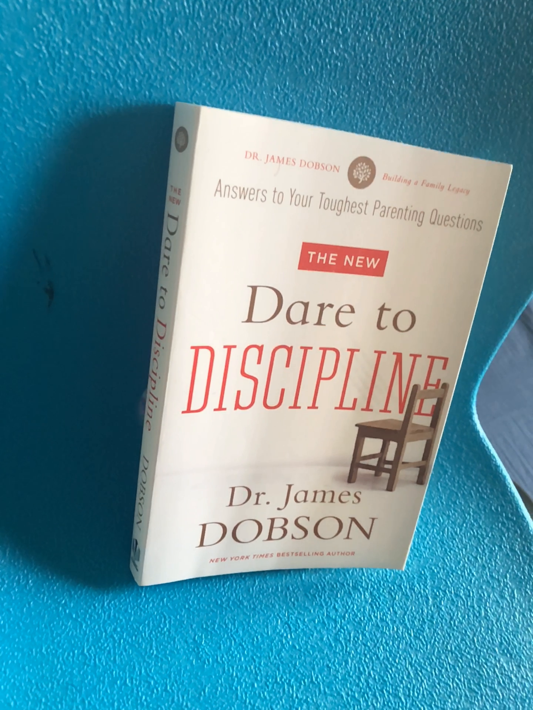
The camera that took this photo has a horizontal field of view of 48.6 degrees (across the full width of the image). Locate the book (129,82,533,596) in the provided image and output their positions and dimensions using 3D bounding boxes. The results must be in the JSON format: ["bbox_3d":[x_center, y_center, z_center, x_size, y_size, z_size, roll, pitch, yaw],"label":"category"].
[{"bbox_3d":[0.025,0.003,0.262,0.150,0.199,0.040,3,16,-19],"label":"book"}]
